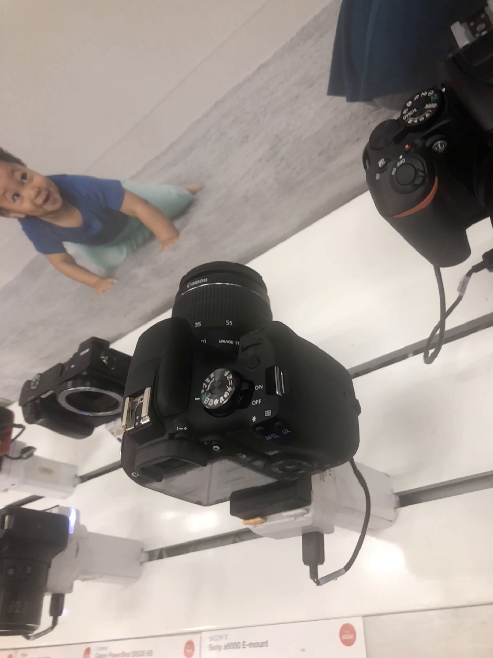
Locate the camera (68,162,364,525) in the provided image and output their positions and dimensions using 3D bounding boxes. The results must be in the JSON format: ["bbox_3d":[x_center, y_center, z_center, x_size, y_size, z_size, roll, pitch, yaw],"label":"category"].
[{"bbox_3d":[-0.022,0.017,0.346,0.140,0.090,0.170,-27,51,34],"label":"camera"}]
